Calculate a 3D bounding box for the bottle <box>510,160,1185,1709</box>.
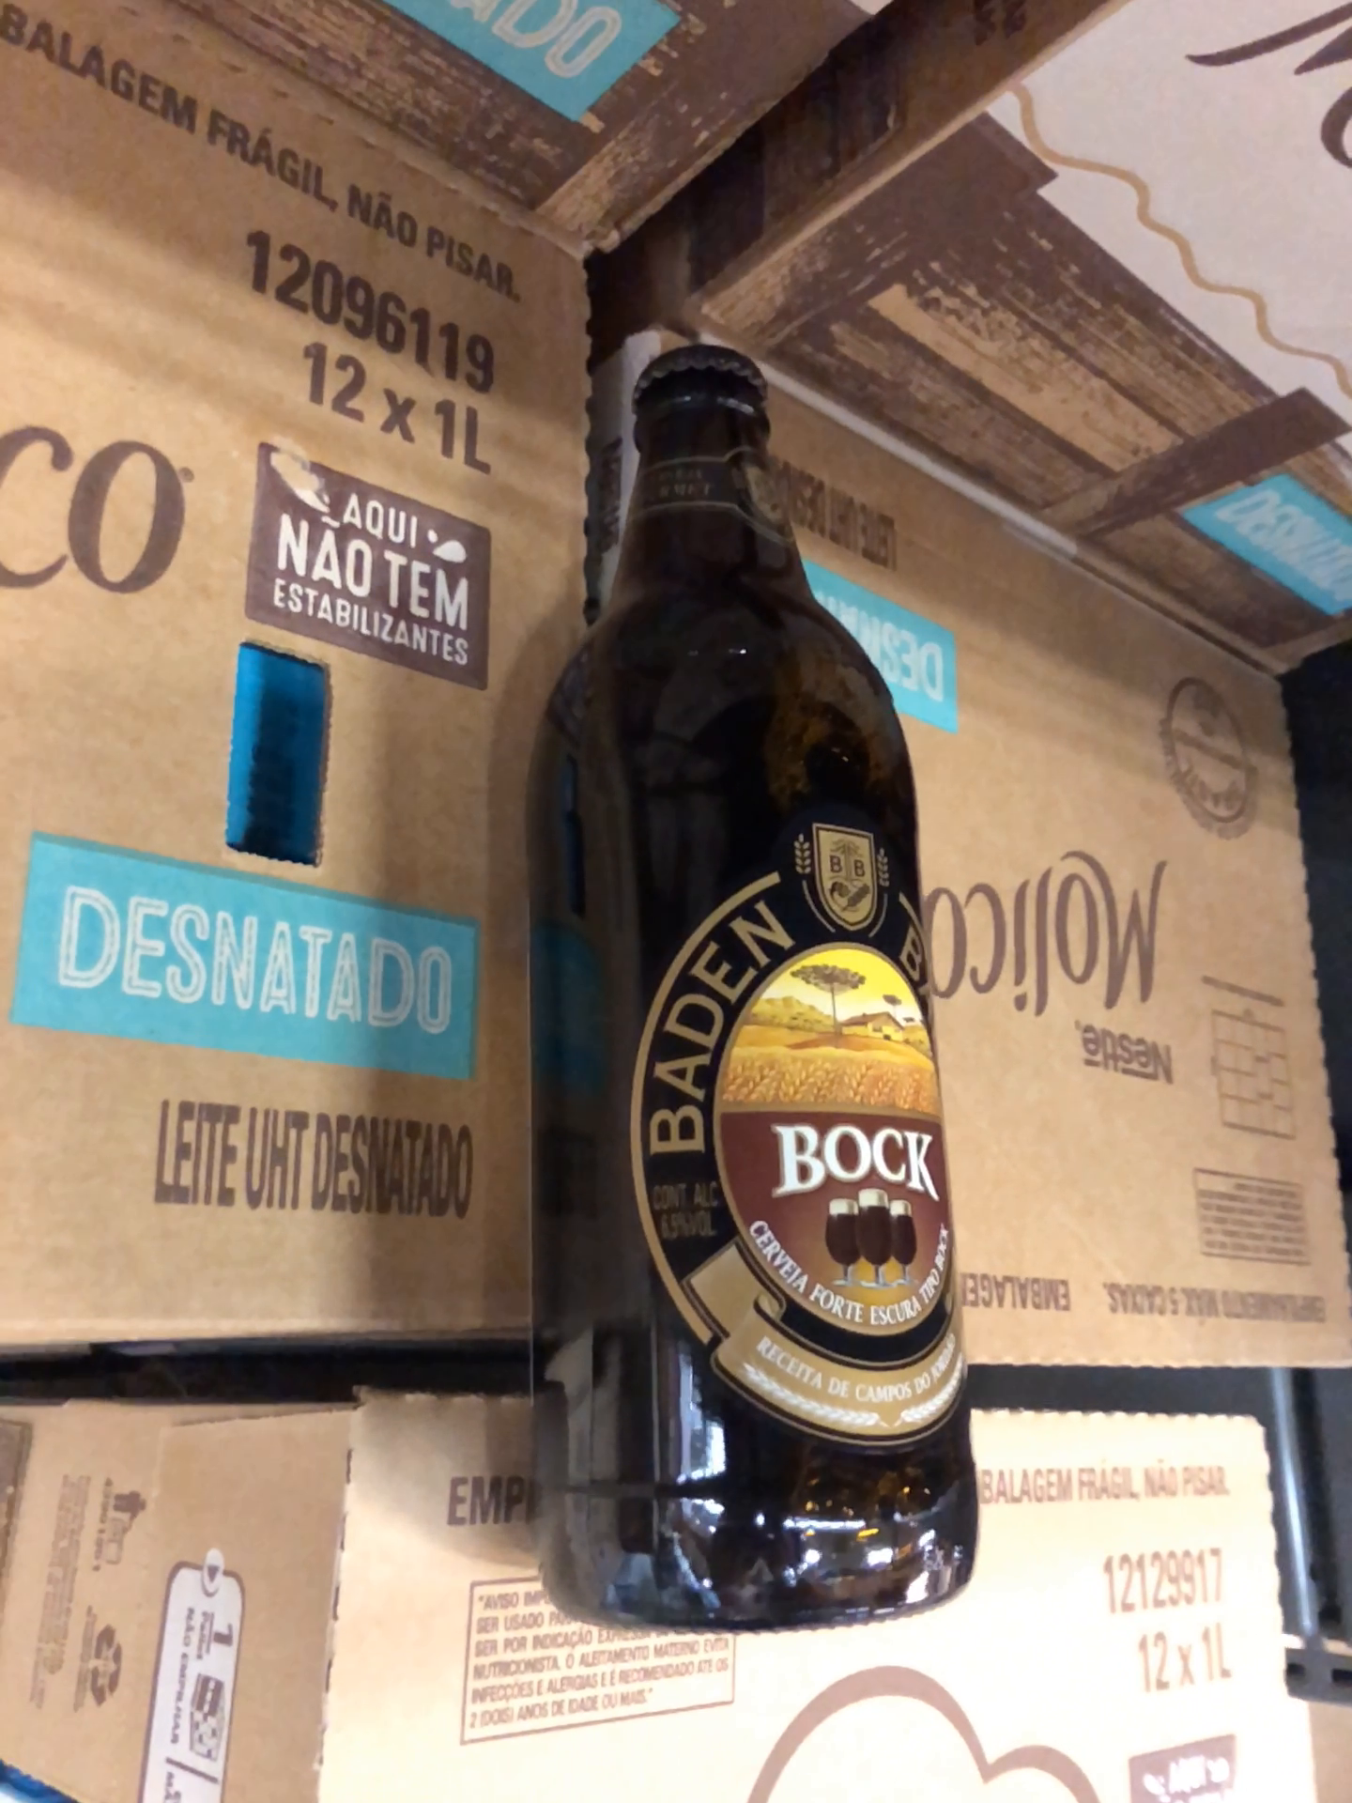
[{"bbox_3d":[0.024,0.003,0.267,0.080,0.070,0.230,11,70,-40],"label":"bottle"}]
